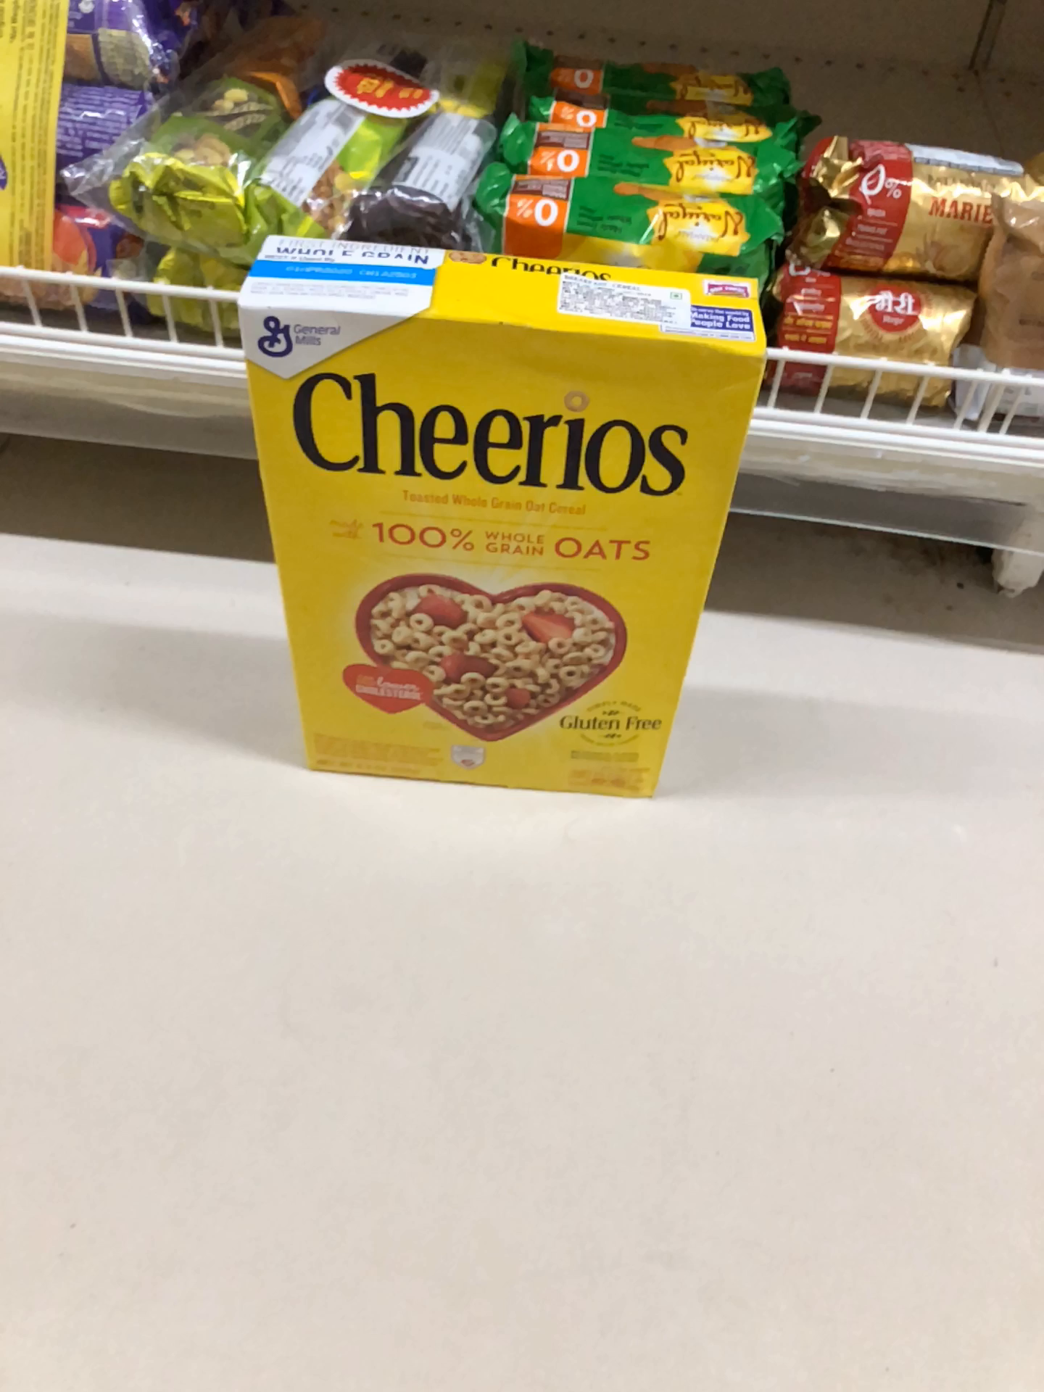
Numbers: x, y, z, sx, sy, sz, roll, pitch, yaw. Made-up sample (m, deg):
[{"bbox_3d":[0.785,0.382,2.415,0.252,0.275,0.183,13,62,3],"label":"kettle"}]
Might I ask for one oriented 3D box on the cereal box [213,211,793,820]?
[{"bbox_3d":[-0.012,-0.058,0.527,0.200,0.288,0.060,5,50,0],"label":"cereal box"}]
